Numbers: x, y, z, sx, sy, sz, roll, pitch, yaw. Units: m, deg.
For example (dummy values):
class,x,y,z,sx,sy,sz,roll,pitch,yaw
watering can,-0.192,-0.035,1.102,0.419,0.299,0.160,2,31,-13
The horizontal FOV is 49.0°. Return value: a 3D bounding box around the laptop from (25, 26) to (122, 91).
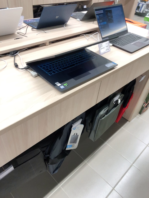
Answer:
class,x,y,z,sx,sy,sz,roll,pitch,yaw
laptop,0.002,-0.234,0.821,0.391,0.129,0.271,-28,51,-35
